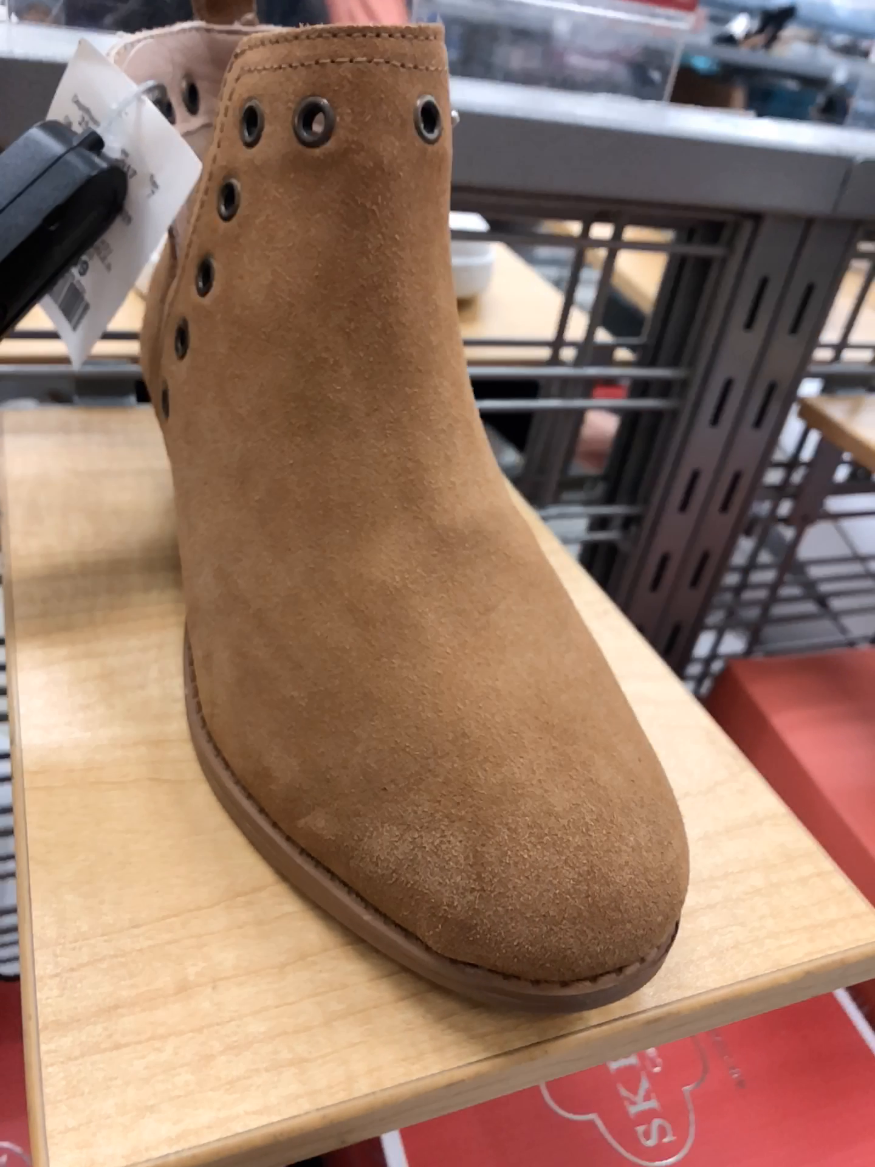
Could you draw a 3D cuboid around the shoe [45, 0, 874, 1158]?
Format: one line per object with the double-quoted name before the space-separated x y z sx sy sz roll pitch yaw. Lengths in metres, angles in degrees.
"shoe" -0.022 -0.051 0.234 0.092 0.129 0.282 -7 38 -26
